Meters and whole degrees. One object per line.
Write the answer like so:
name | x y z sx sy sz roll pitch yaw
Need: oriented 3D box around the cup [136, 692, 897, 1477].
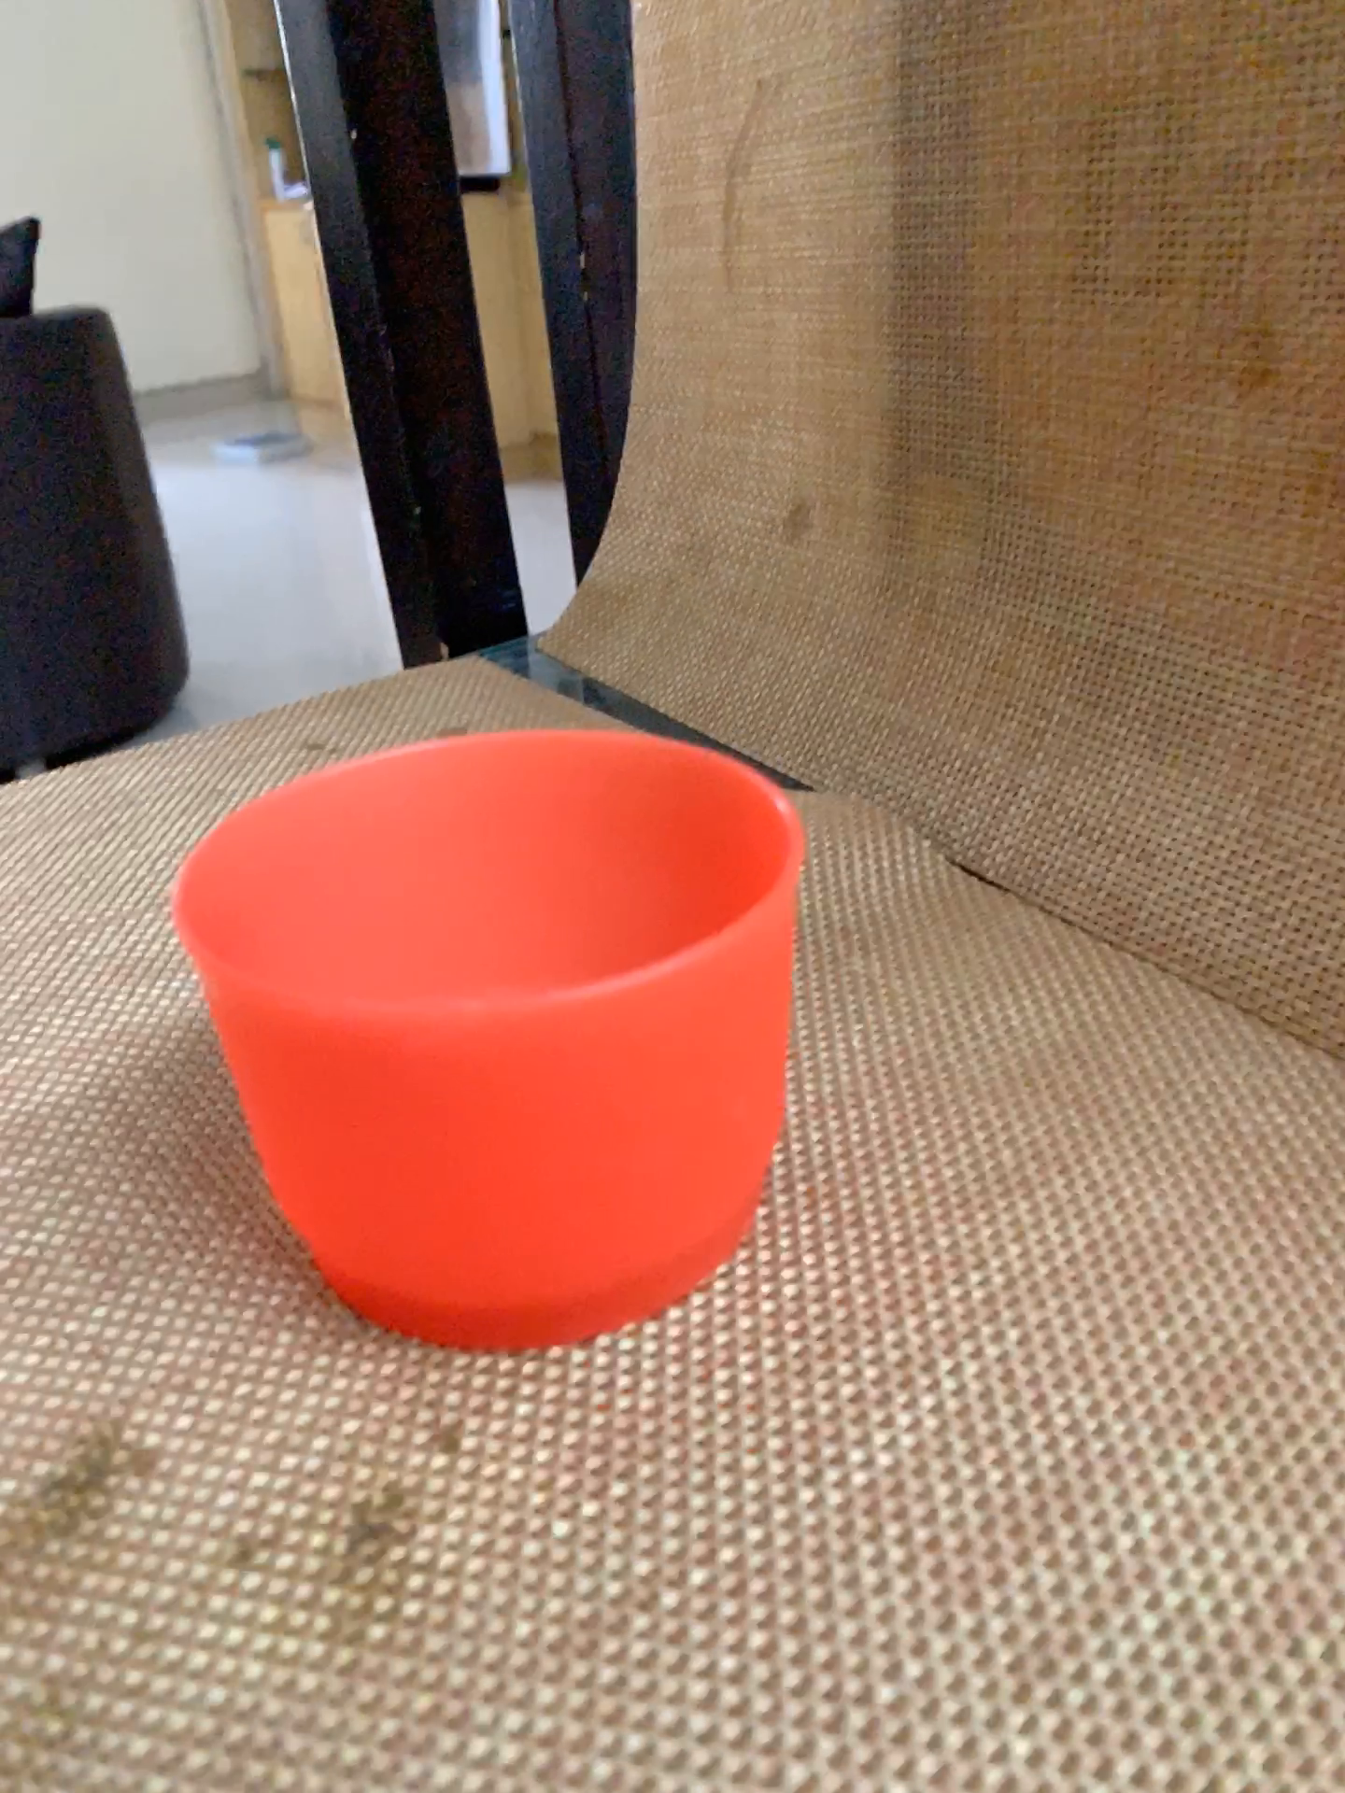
cup | -0.021 0.015 0.173 0.070 0.050 0.070 -3 28 2
